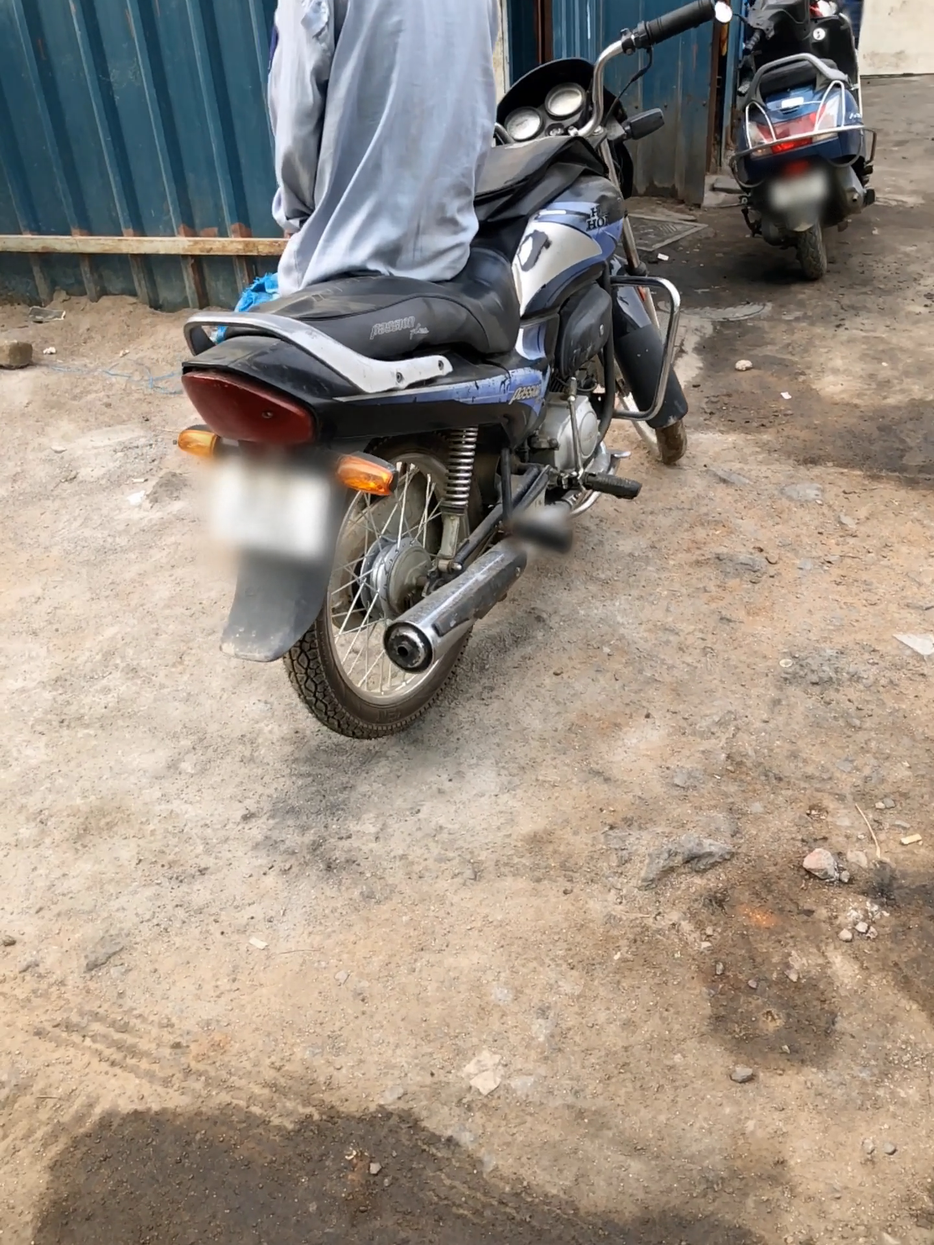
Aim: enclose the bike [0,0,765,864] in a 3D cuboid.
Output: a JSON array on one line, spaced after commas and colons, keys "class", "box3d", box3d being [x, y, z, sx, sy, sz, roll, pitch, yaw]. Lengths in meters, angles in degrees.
[{"class": "bike", "box3d": [0.038, -0.666, 2.230, 0.784, 1.154, 1.812, 11, 38, 22]}]
